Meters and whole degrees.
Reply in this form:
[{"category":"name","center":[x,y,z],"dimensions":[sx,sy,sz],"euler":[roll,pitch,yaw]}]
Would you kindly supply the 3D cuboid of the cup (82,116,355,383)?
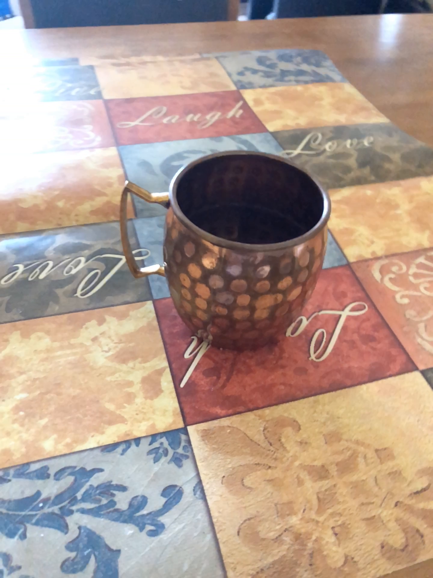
[{"category":"cup","center":[0.005,-0.027,0.288],"dimensions":[0.120,0.090,0.100],"euler":[15,48,10]}]
